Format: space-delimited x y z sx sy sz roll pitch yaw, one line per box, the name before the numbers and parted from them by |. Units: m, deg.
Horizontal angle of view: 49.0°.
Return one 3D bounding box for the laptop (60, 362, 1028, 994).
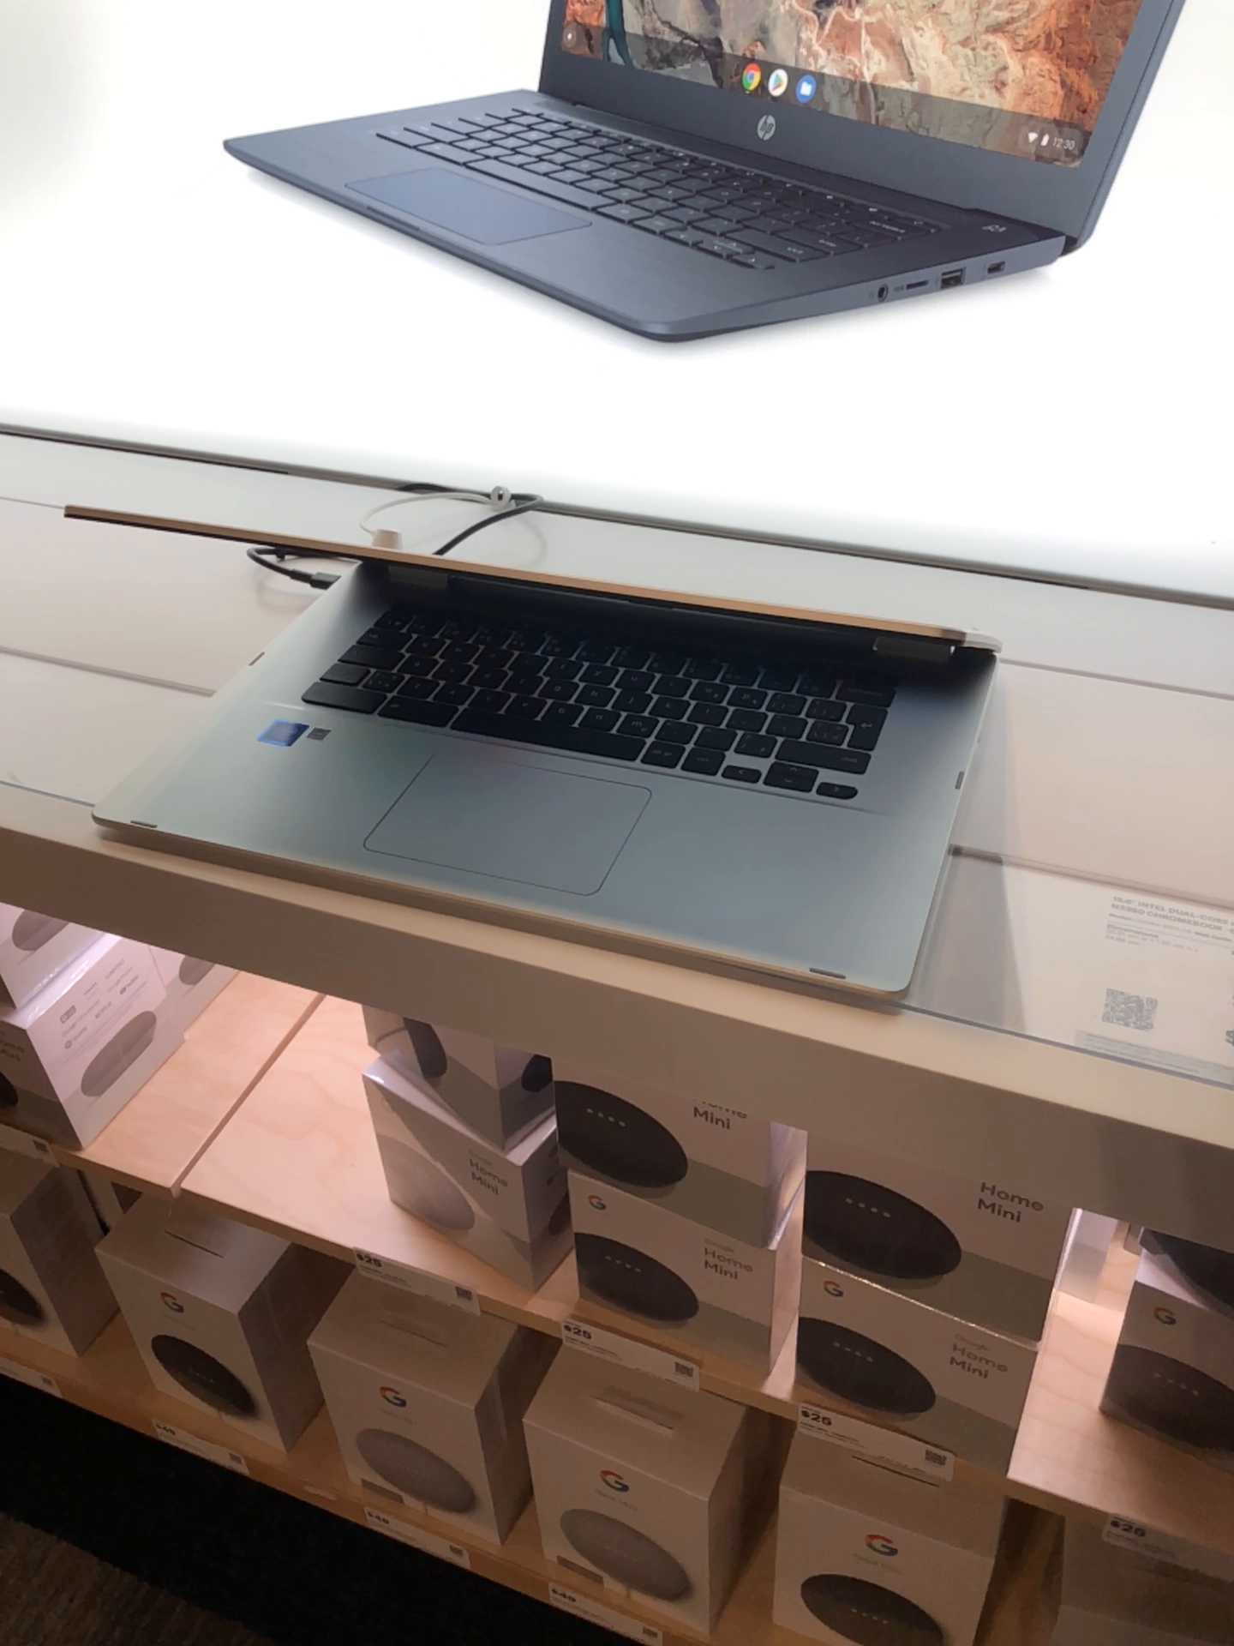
laptop | -0.021 -0.086 0.581 0.341 0.113 0.222 11 42 20
